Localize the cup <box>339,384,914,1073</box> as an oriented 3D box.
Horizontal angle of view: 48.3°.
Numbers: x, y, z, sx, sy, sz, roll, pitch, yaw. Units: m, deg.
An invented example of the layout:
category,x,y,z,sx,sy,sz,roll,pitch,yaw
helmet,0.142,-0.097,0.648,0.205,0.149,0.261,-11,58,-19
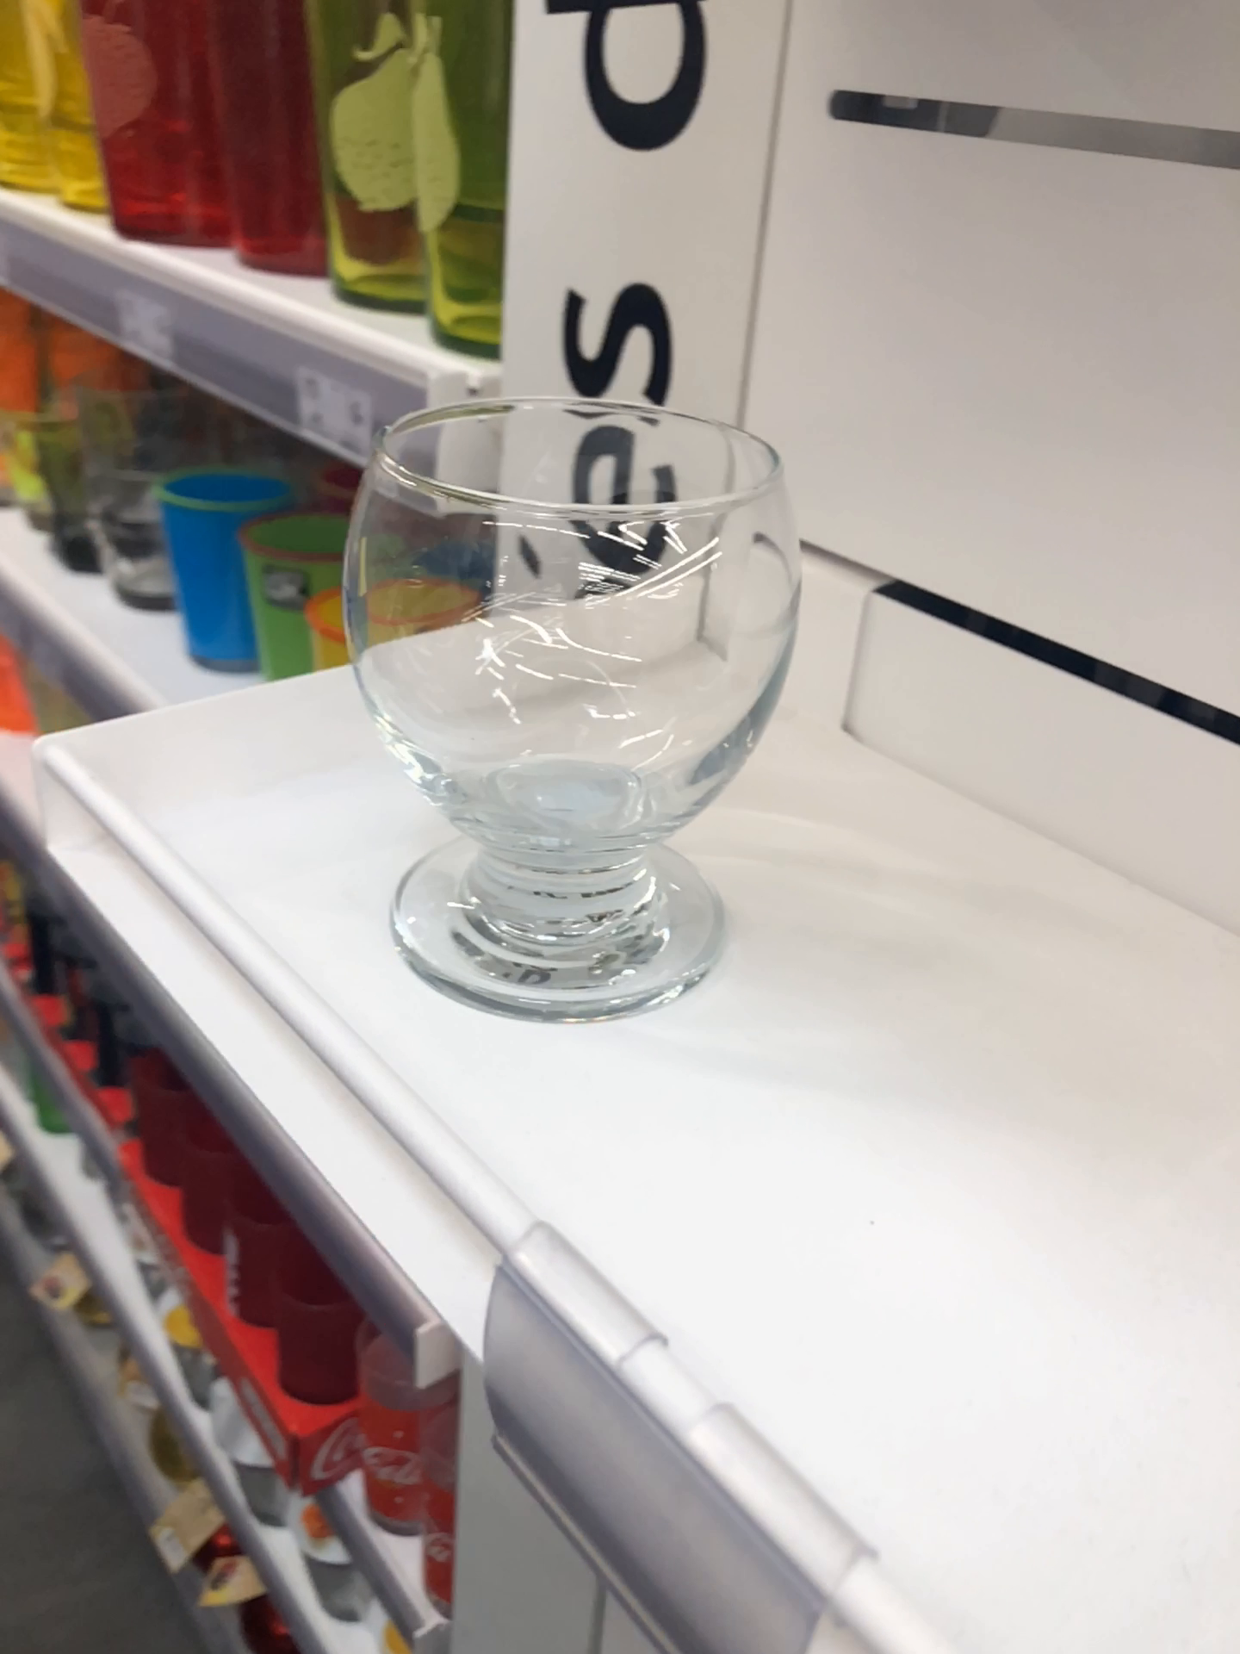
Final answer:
category,x,y,z,sx,sy,sz,roll,pitch,yaw
cup,-0.008,-0.020,0.241,0.079,0.093,0.074,4,29,-2
